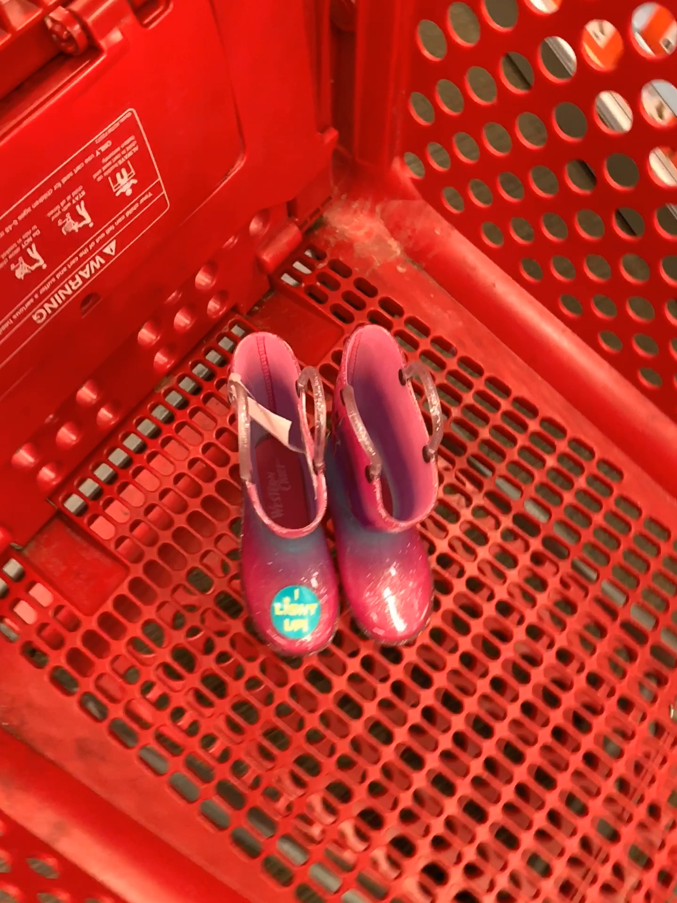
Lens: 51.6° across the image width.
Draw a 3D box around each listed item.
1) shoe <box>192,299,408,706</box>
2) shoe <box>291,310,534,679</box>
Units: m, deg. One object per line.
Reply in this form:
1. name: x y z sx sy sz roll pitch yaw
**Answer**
1. shoe: -0.031 0.034 0.425 0.070 0.140 0.200 -11 79 -10
2. shoe: 0.034 0.033 0.445 0.070 0.140 0.190 -14 79 -11
